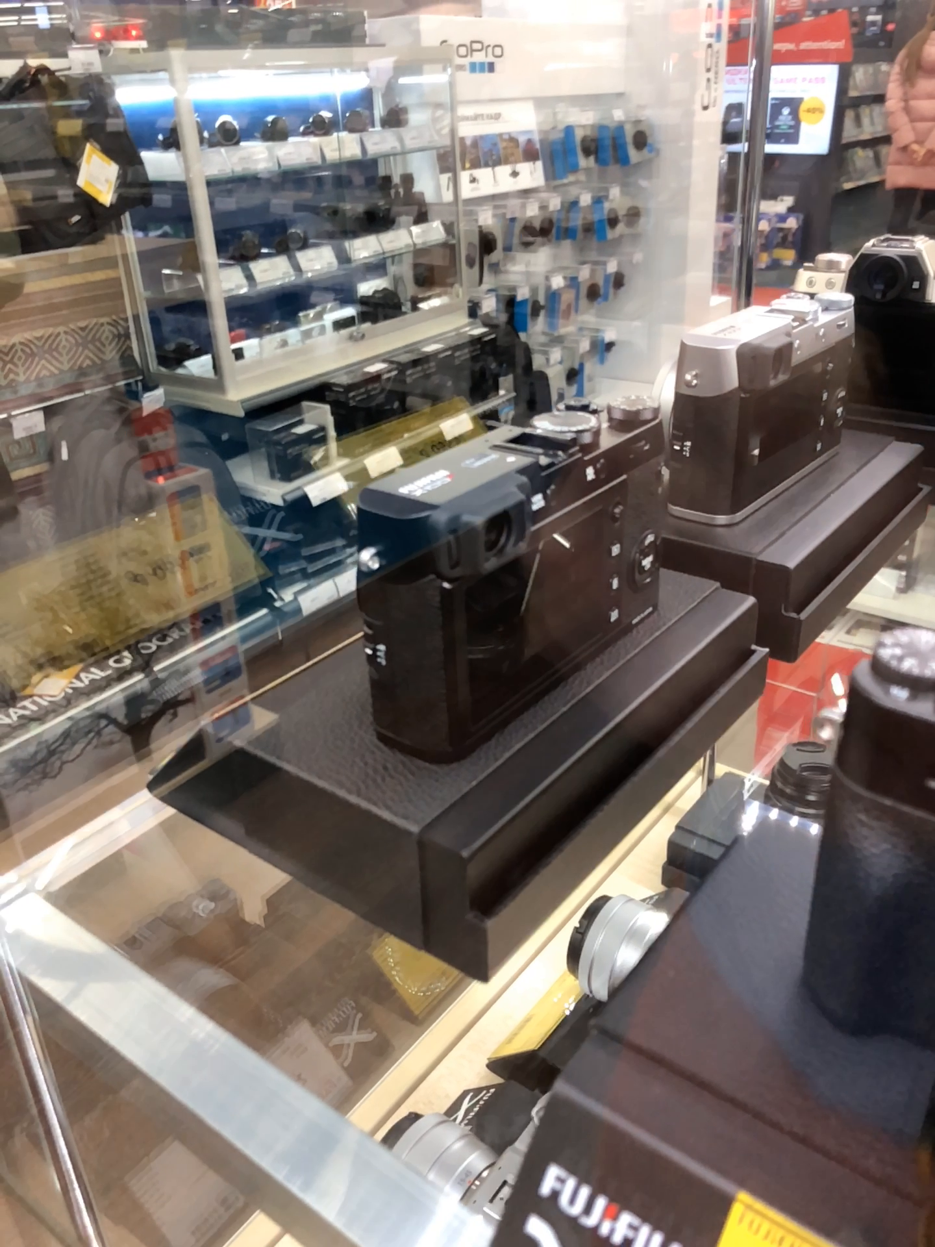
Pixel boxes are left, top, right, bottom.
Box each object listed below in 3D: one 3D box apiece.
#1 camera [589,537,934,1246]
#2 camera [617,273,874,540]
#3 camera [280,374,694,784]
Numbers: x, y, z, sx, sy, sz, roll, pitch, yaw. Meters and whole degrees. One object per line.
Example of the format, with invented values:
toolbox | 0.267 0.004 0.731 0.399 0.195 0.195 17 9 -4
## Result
camera | 0.102 0.055 0.149 0.131 0.081 0.104 18 33 34
camera | 0.124 -0.101 0.453 0.054 0.081 0.131 18 33 34
camera | 0.013 -0.022 0.320 0.054 0.075 0.131 18 33 34
